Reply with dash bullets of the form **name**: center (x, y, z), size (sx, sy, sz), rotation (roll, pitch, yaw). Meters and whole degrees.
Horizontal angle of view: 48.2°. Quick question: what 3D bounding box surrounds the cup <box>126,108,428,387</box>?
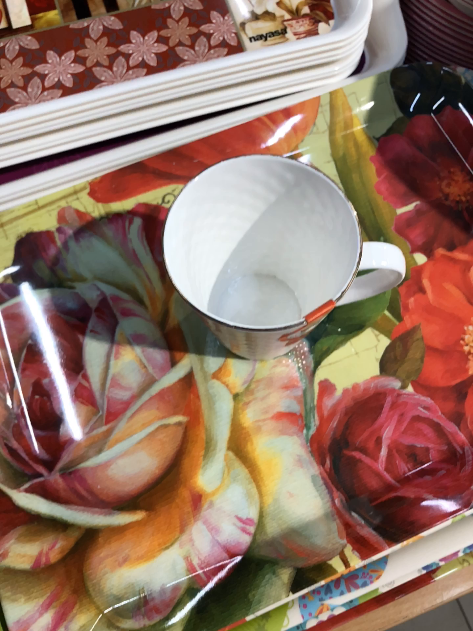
- **cup**: center (0.013, -0.030, 0.273), size (0.120, 0.090, 0.100), rotation (-6, 66, -2)
